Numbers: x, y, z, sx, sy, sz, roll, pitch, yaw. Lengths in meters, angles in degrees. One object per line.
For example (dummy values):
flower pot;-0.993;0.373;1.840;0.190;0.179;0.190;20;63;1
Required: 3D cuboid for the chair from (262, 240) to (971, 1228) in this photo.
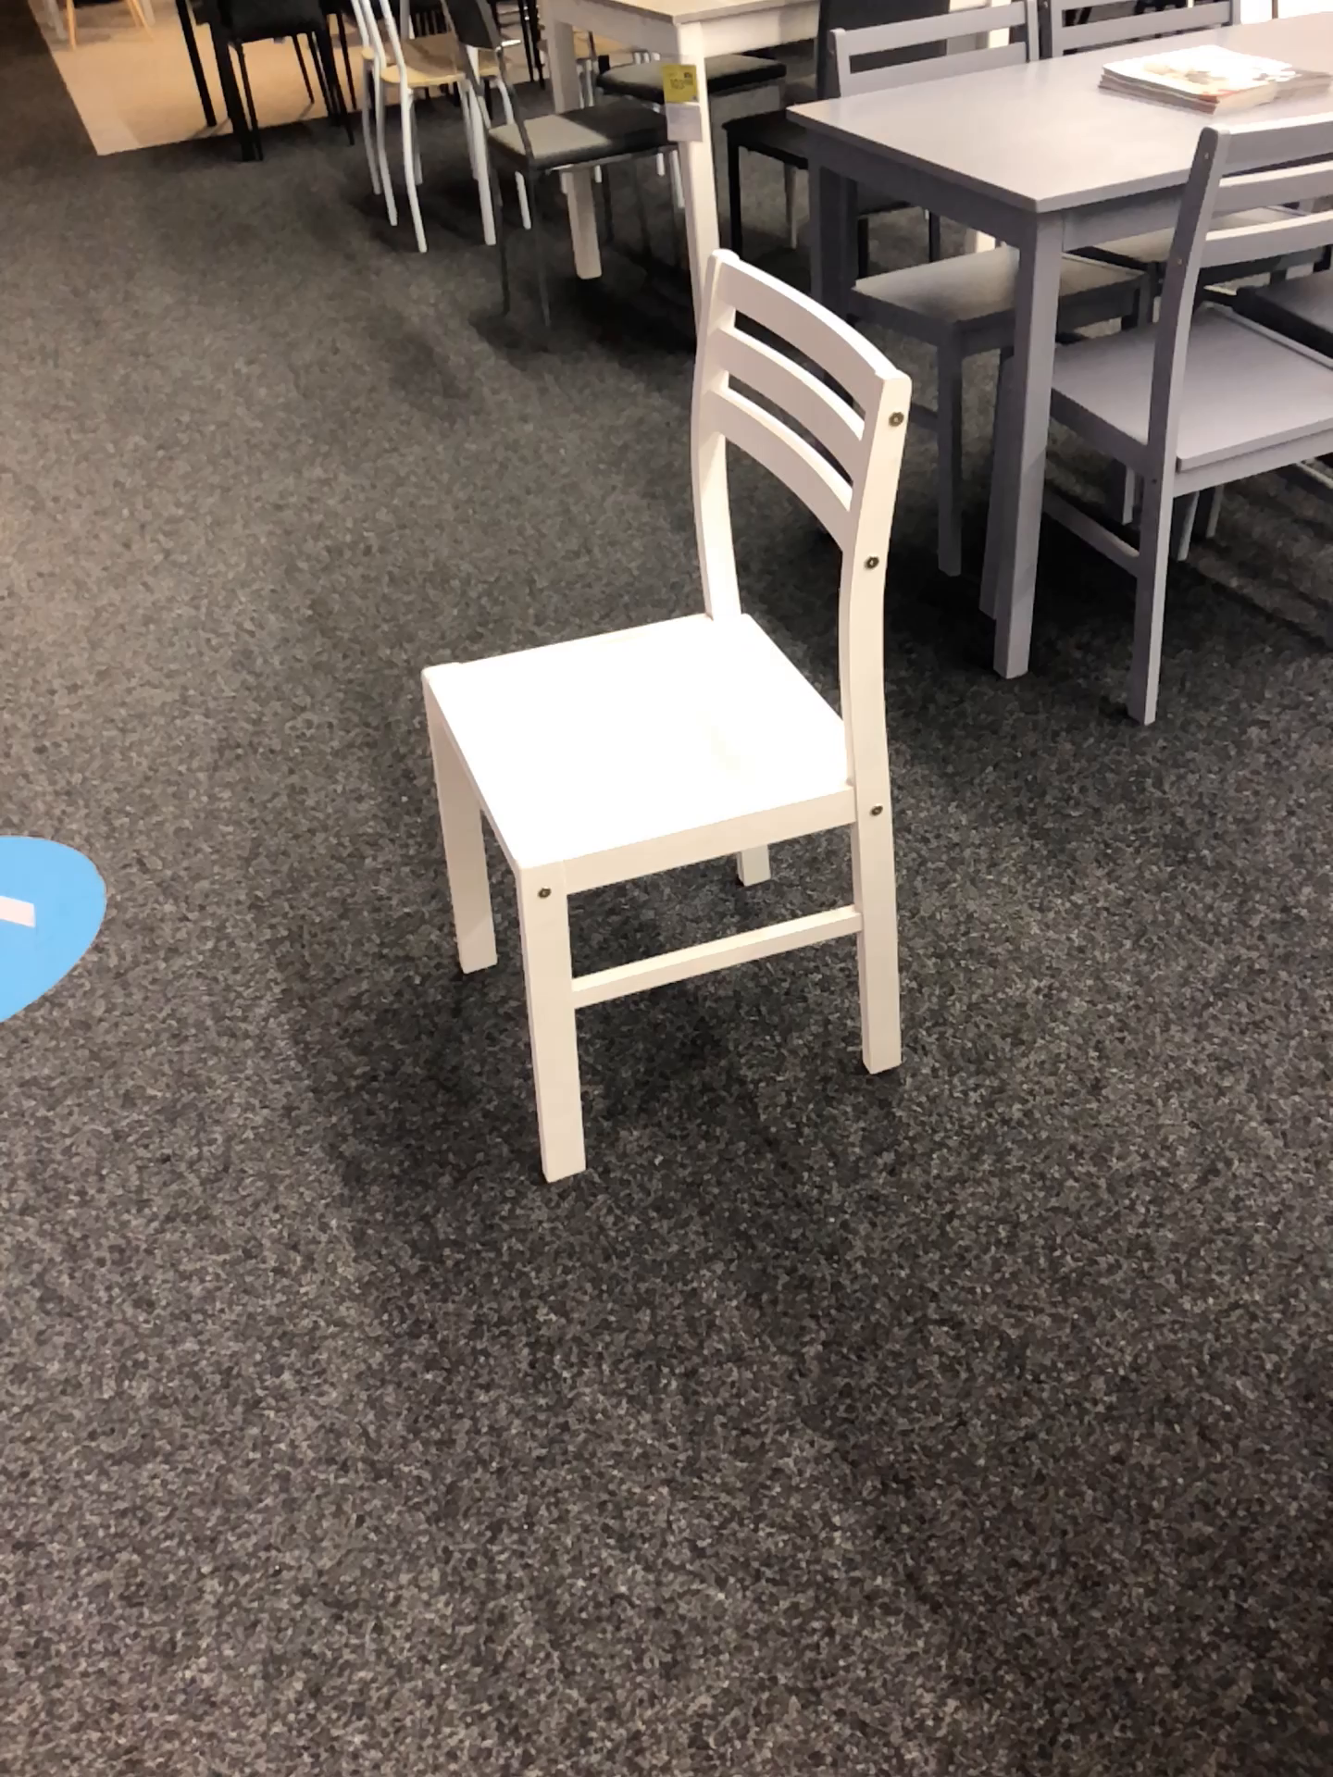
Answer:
chair;-0.037;-0.165;1.496;0.501;0.766;0.502;-16;37;-11
